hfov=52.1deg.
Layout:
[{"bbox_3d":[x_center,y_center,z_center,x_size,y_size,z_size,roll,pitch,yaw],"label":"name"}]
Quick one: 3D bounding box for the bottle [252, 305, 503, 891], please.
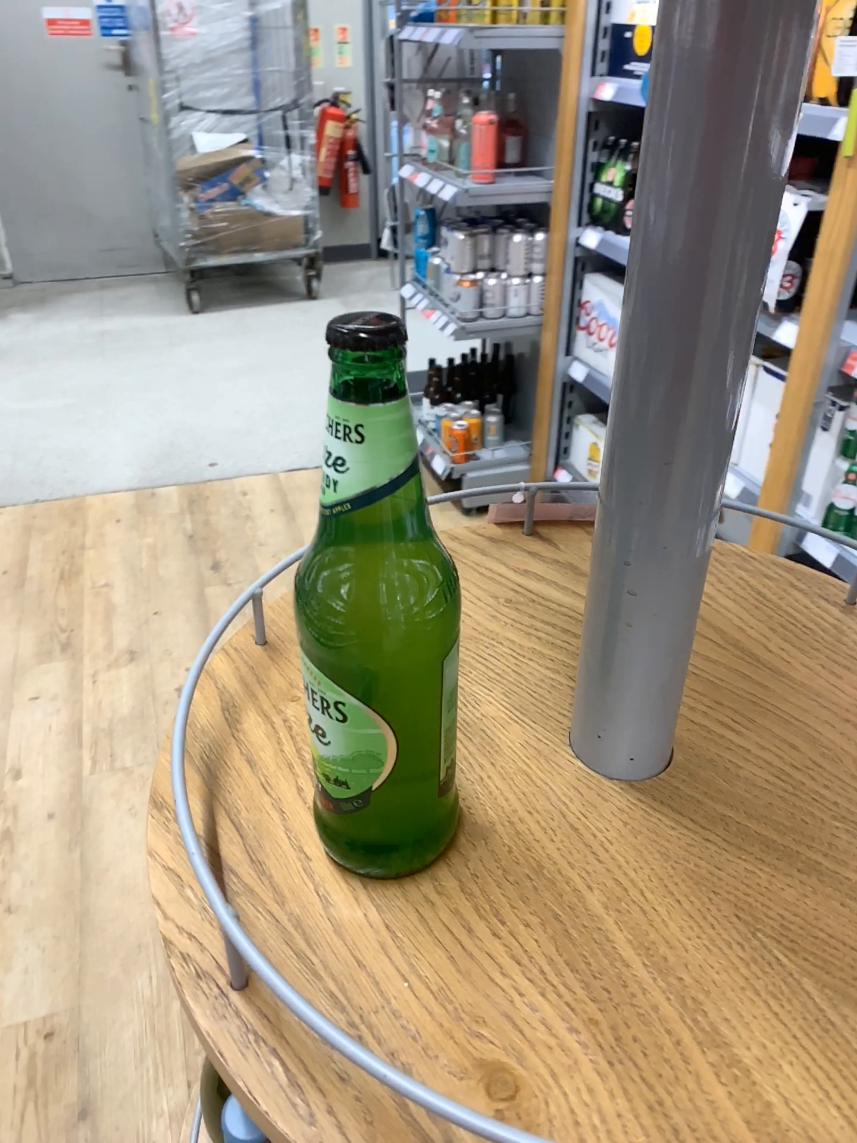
[{"bbox_3d":[-0.020,0.021,0.365,0.078,0.240,0.070,-4,32,-6],"label":"bottle"}]
